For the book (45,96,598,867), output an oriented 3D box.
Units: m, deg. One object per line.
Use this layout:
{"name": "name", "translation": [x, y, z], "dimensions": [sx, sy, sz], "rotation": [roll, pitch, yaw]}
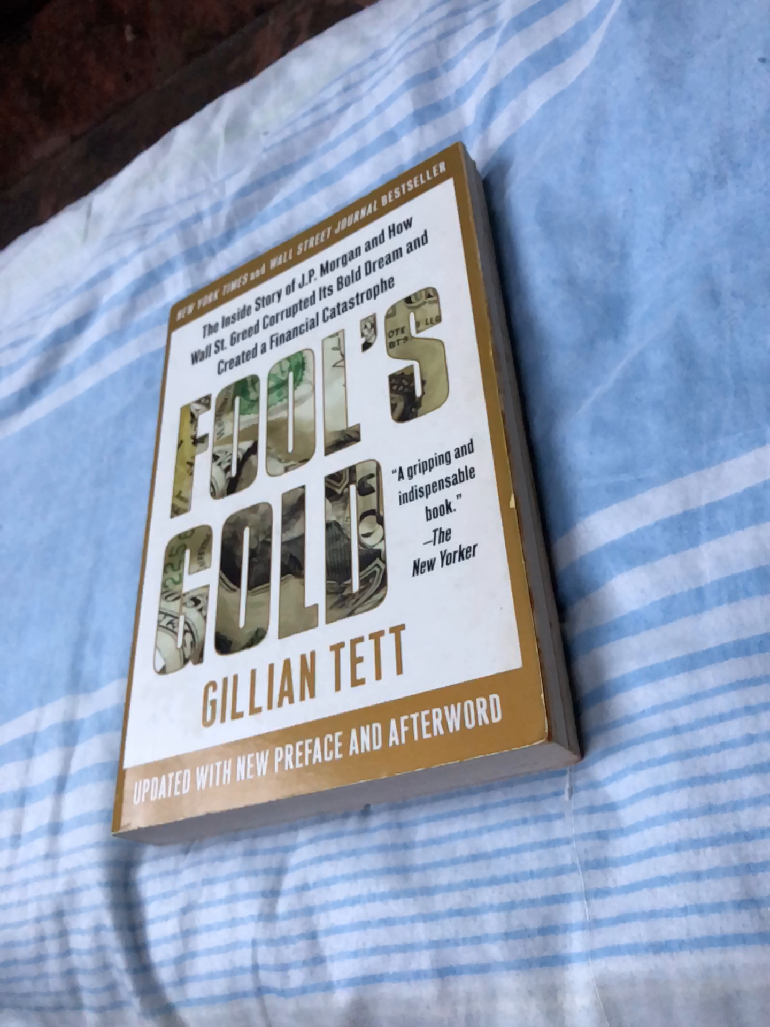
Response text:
{"name": "book", "translation": [-0.027, -0.018, 0.289], "dimensions": [0.150, 0.040, 0.230], "rotation": [-22, 52, 26]}
